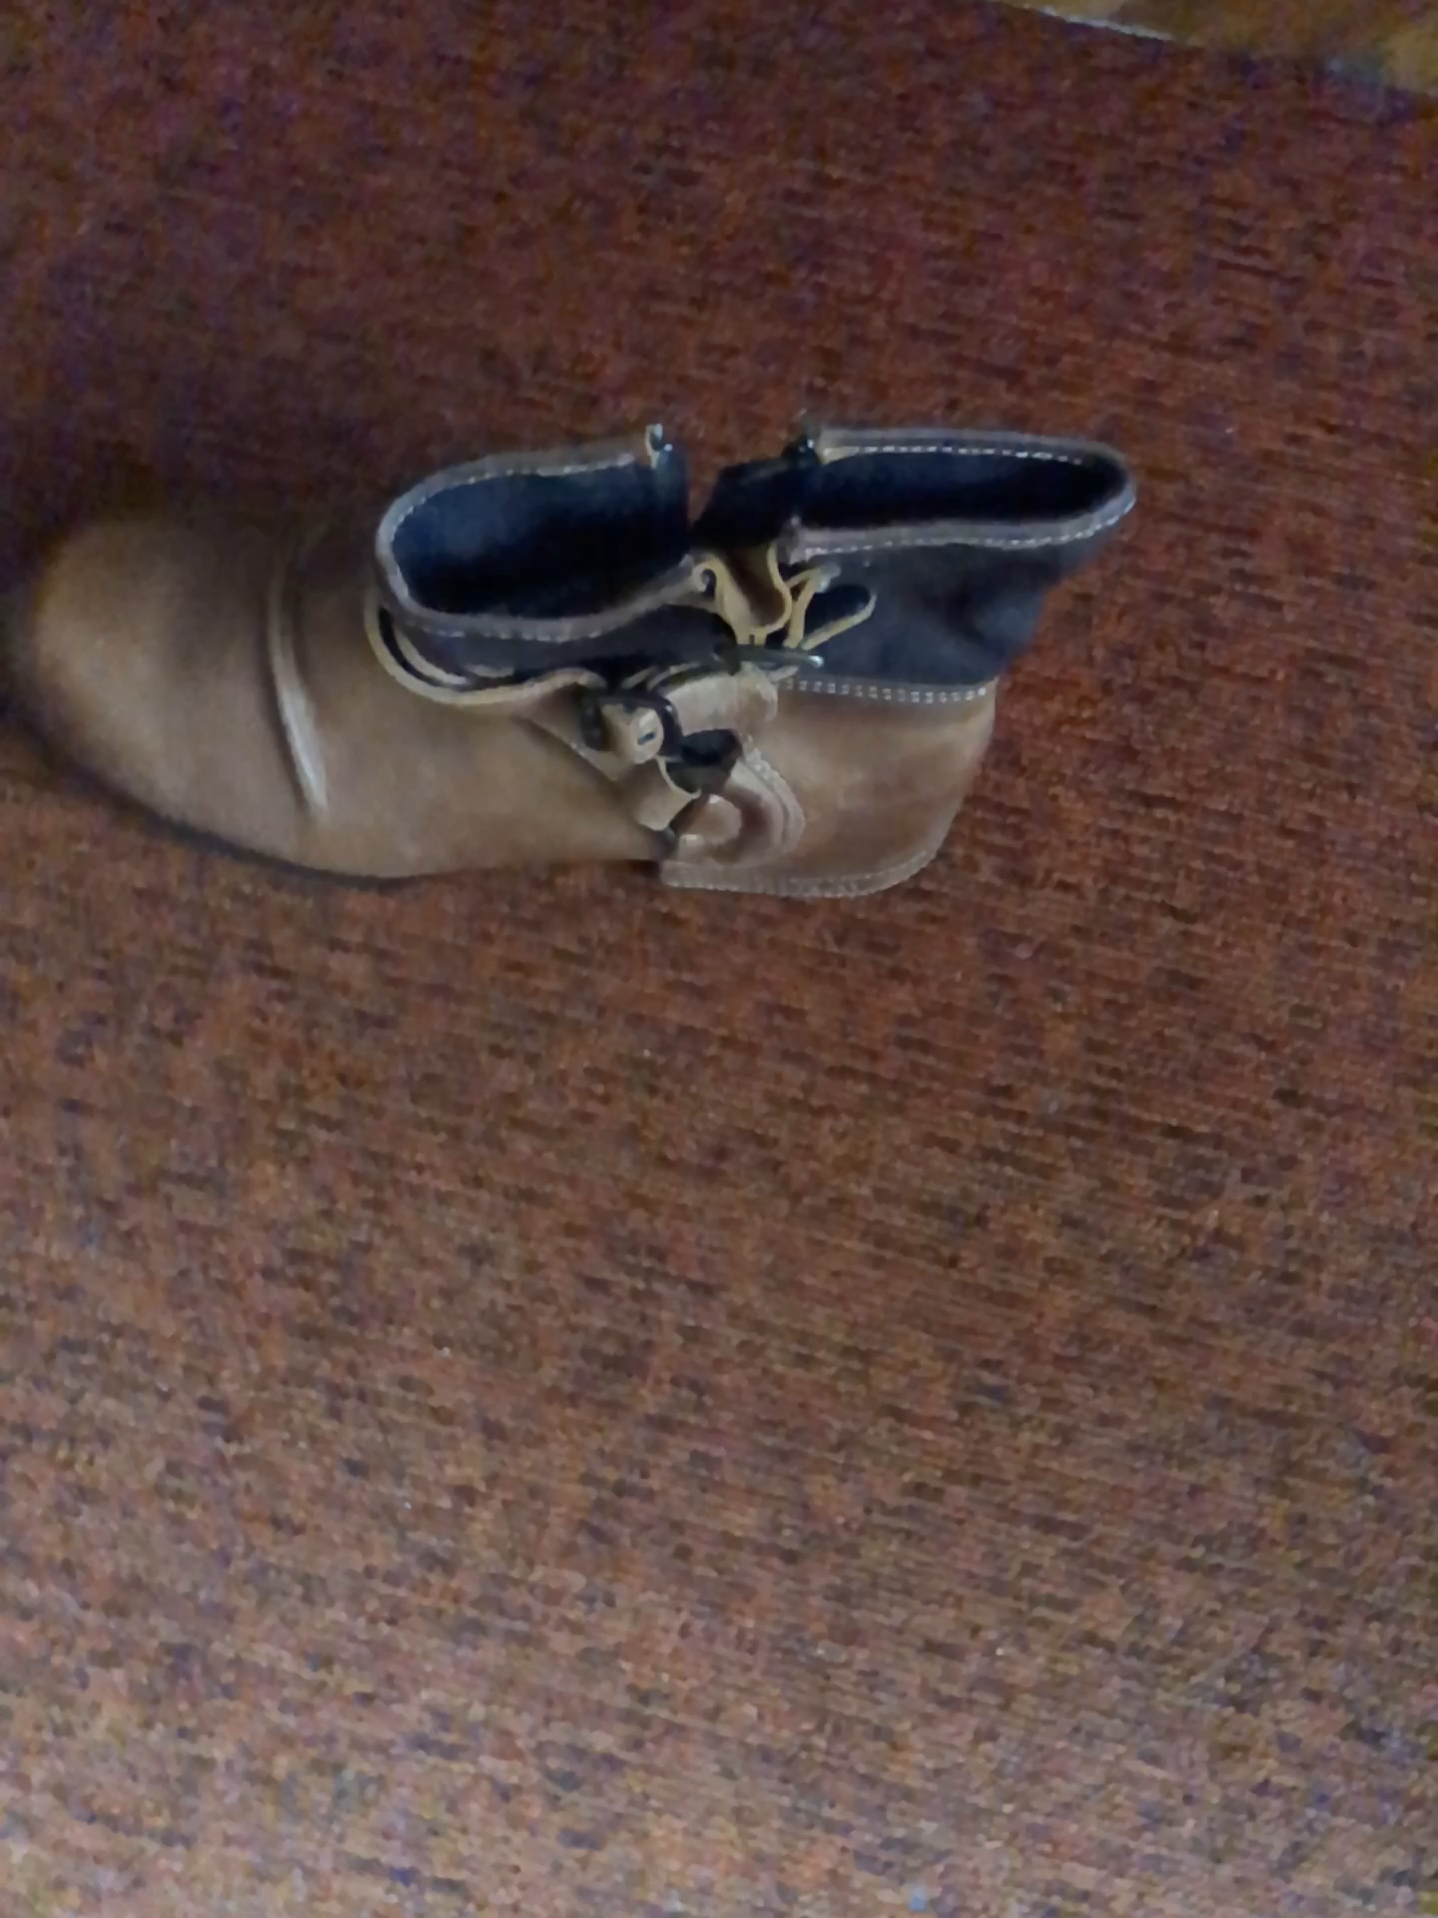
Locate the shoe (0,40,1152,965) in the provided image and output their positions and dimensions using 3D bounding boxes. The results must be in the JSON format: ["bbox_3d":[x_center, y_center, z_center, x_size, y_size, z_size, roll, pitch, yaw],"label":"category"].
[{"bbox_3d":[-0.065,-0.088,0.390,0.280,0.190,0.110,7,79,0],"label":"shoe"}]
